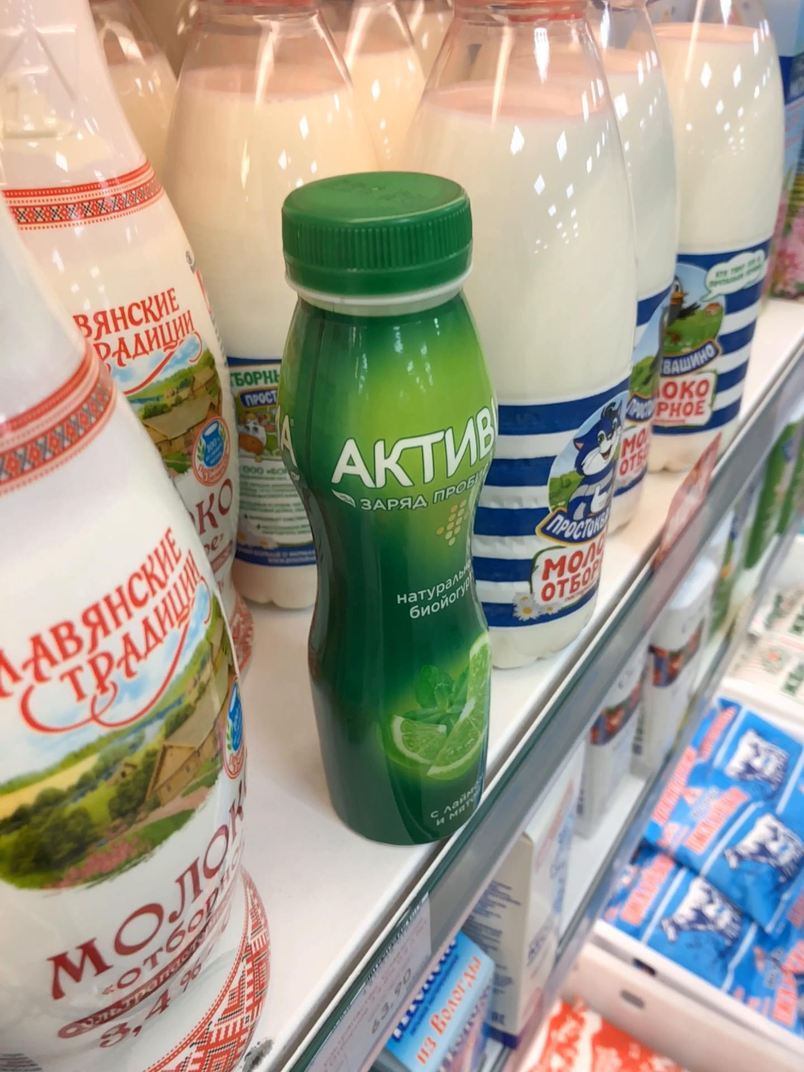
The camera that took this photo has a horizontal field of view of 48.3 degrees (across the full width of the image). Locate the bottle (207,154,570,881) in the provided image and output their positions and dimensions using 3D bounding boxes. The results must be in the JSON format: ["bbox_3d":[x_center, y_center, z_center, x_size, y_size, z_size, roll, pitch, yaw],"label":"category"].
[{"bbox_3d":[-0.002,0.004,0.235,0.053,0.179,0.052,-1,35,1],"label":"bottle"}]
